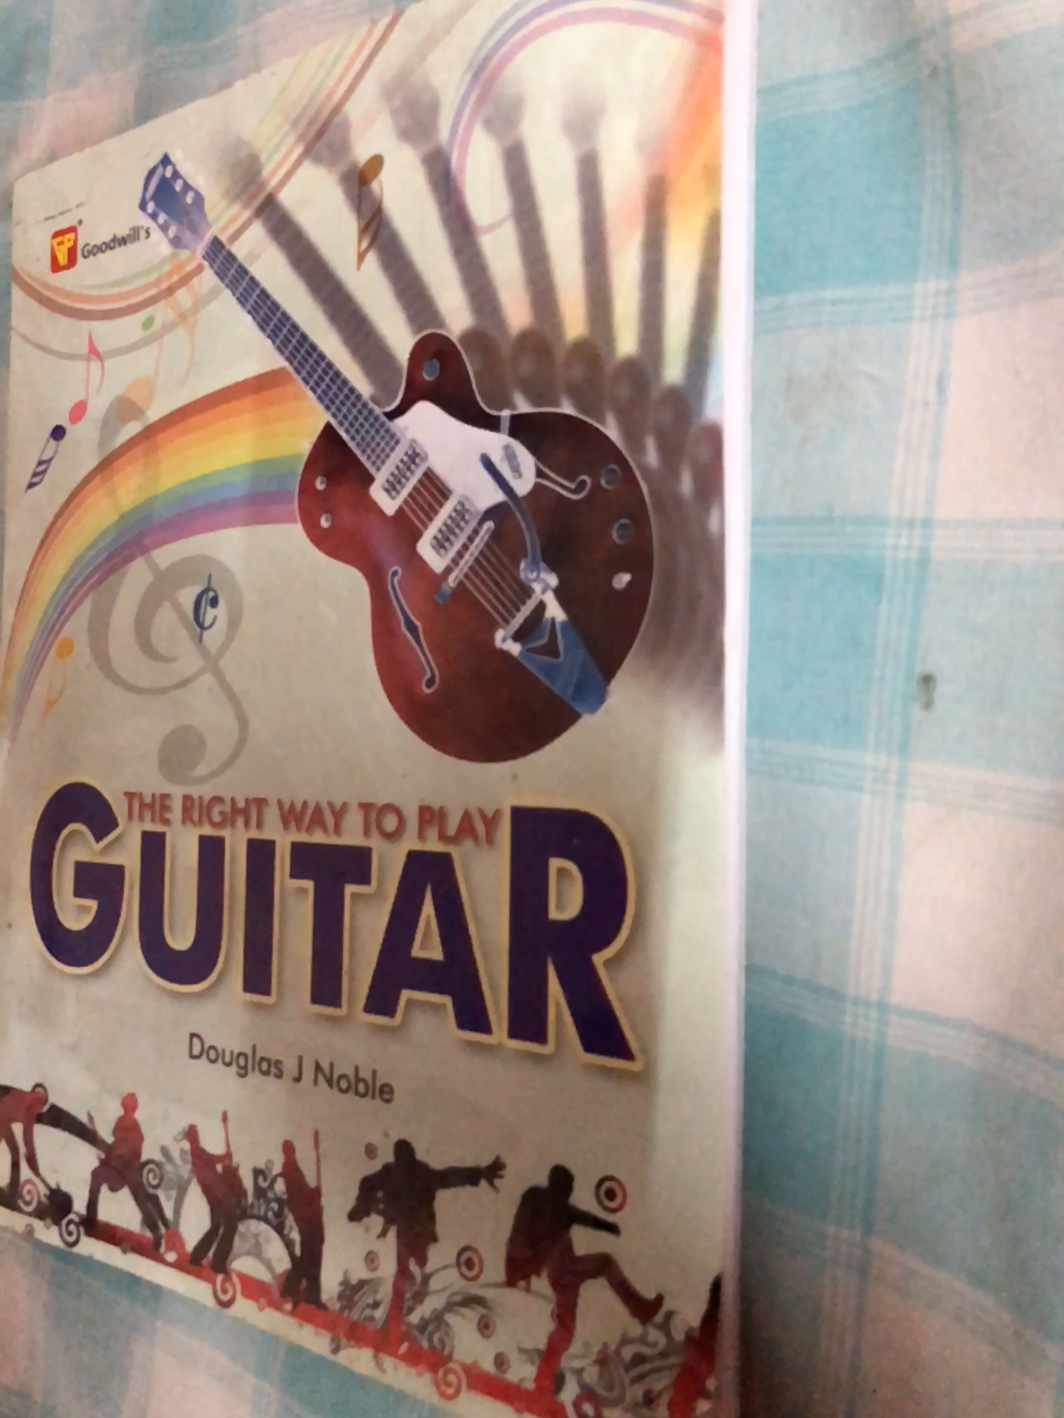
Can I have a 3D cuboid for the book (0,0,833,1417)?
[{"bbox_3d":[-0.041,-0.008,0.215,0.181,0.030,0.240,0,87,34],"label":"book"}]
